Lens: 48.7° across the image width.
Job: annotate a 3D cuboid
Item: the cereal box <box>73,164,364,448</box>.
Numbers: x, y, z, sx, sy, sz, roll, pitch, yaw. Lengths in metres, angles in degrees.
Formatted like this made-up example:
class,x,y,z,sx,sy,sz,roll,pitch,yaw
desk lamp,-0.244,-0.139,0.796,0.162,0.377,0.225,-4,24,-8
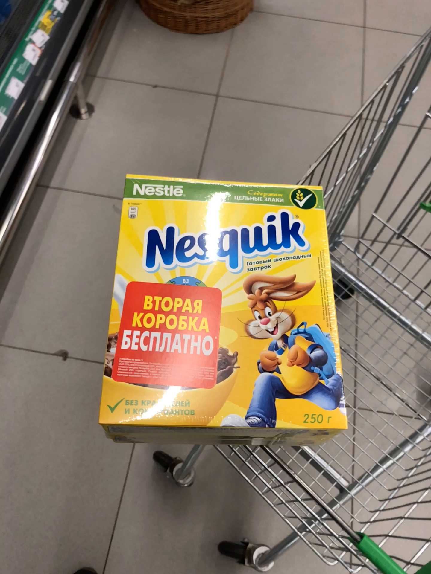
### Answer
class,x,y,z,sx,sy,sz,roll,pitch,yaw
cereal box,0.003,0.010,0.417,0.210,0.050,0.241,3,64,-5

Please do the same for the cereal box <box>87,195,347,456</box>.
class,x,y,z,sx,sy,sz,roll,pitch,yaw
cereal box,0.002,0.031,0.457,0.210,0.050,0.241,3,64,-5
